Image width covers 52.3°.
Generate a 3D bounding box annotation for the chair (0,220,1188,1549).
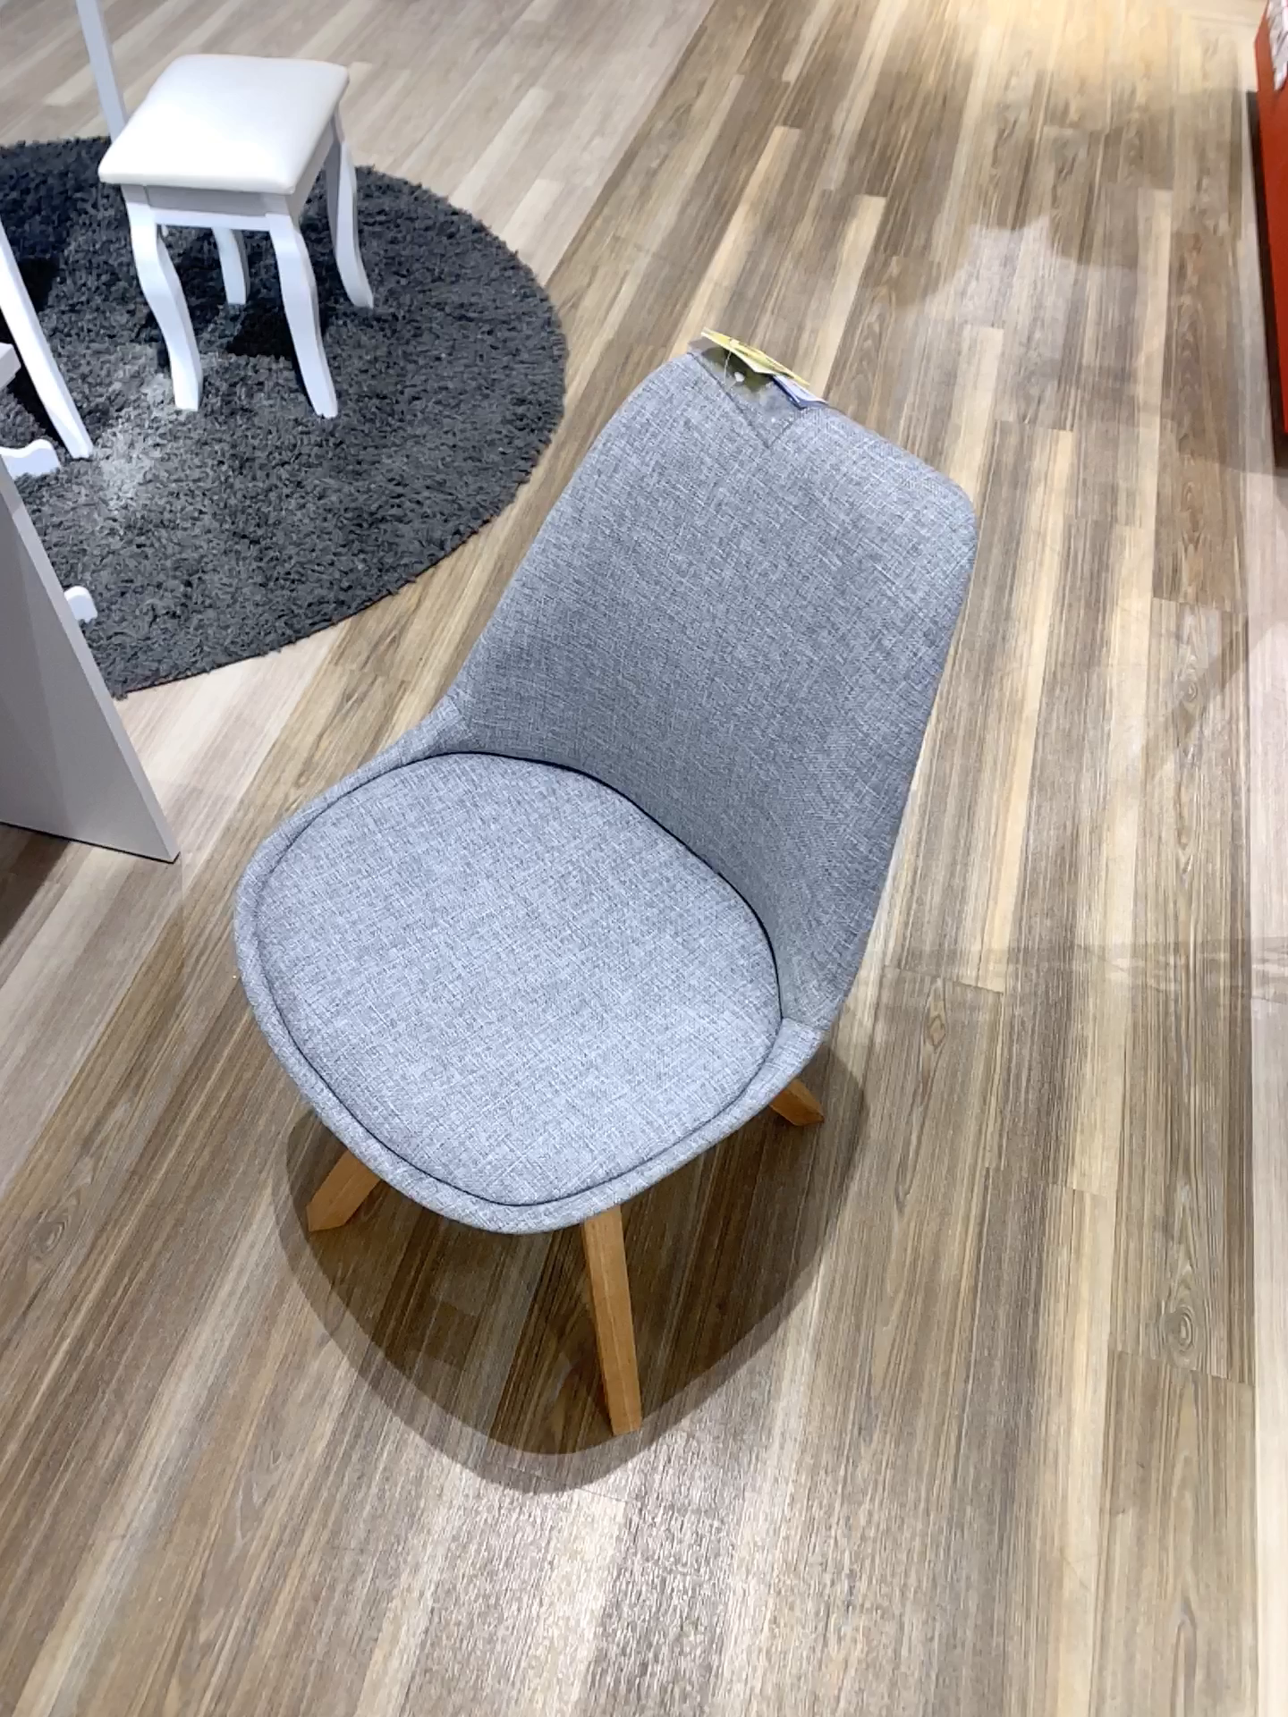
[{"bbox_3d":[-0.064,0.081,1.079,0.516,0.856,0.514,-36,61,-25],"label":"chair"}]
